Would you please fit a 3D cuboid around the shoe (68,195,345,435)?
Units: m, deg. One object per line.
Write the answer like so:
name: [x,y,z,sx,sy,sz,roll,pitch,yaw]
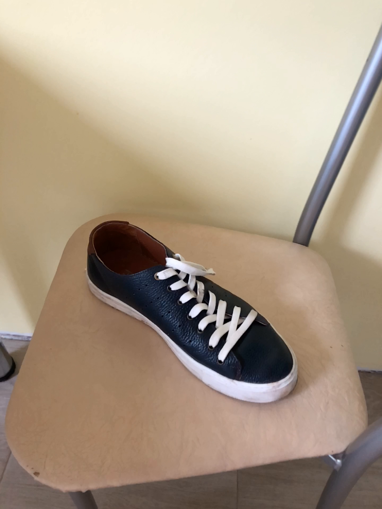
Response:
shoe: [0.005,0.051,0.478,0.291,0.089,0.111,31,52,27]
